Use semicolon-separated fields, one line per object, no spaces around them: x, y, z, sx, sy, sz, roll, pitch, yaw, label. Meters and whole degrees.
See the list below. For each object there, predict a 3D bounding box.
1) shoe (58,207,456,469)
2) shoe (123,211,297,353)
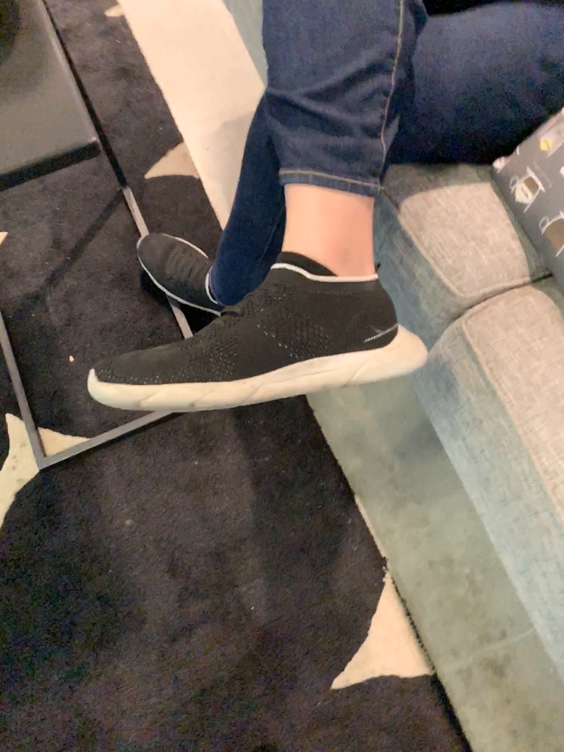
-0.021;-0.030;0.480;0.276;0.112;0.132;-16;85;-17;shoe
-0.131;-0.177;1.066;0.303;0.074;0.116;31;74;13;shoe
